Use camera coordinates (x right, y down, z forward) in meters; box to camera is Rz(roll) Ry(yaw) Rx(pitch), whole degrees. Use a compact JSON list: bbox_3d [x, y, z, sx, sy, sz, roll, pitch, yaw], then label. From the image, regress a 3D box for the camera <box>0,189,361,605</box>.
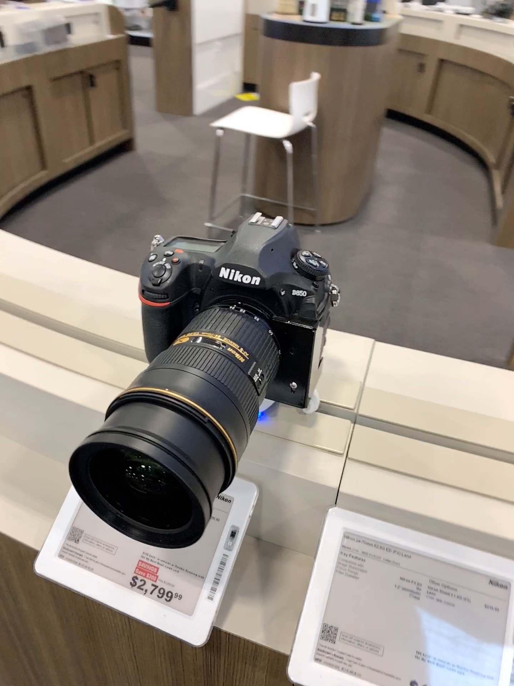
[{"bbox_3d":[-0.041,0.004,0.348,0.160,0.109,0.241,14,37,14],"label":"camera"}]
